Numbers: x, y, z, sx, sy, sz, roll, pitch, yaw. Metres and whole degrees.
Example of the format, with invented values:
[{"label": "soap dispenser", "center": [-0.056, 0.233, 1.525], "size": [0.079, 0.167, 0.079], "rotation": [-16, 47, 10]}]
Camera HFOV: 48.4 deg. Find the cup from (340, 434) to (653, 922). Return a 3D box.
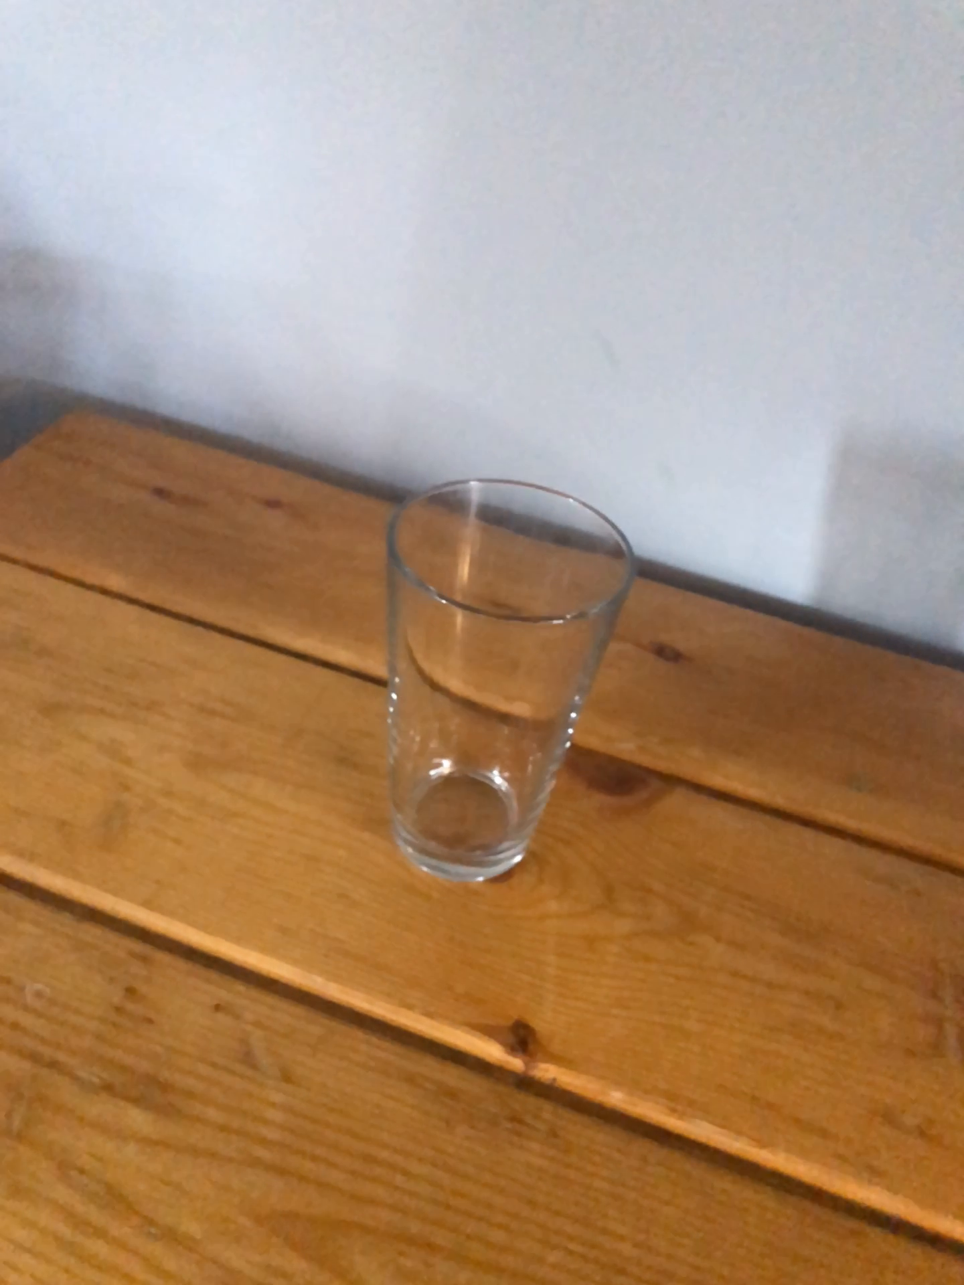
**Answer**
[{"label": "cup", "center": [0.003, 0.016, 0.408], "size": [0.090, 0.149, 0.090], "rotation": [5, 41, -4]}]
